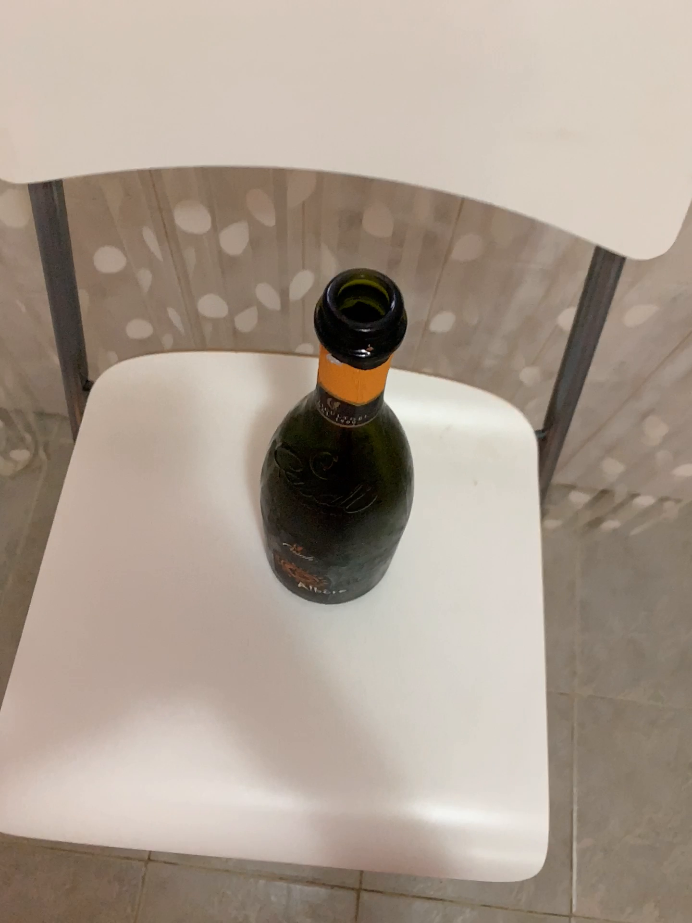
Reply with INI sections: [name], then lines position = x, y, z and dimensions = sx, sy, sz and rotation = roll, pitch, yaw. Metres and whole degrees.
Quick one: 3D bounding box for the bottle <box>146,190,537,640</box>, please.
[bottle]
position = -0.007, 0.009, 0.365
dimensions = 0.101, 0.269, 0.092
rotation = 1, 69, -3
